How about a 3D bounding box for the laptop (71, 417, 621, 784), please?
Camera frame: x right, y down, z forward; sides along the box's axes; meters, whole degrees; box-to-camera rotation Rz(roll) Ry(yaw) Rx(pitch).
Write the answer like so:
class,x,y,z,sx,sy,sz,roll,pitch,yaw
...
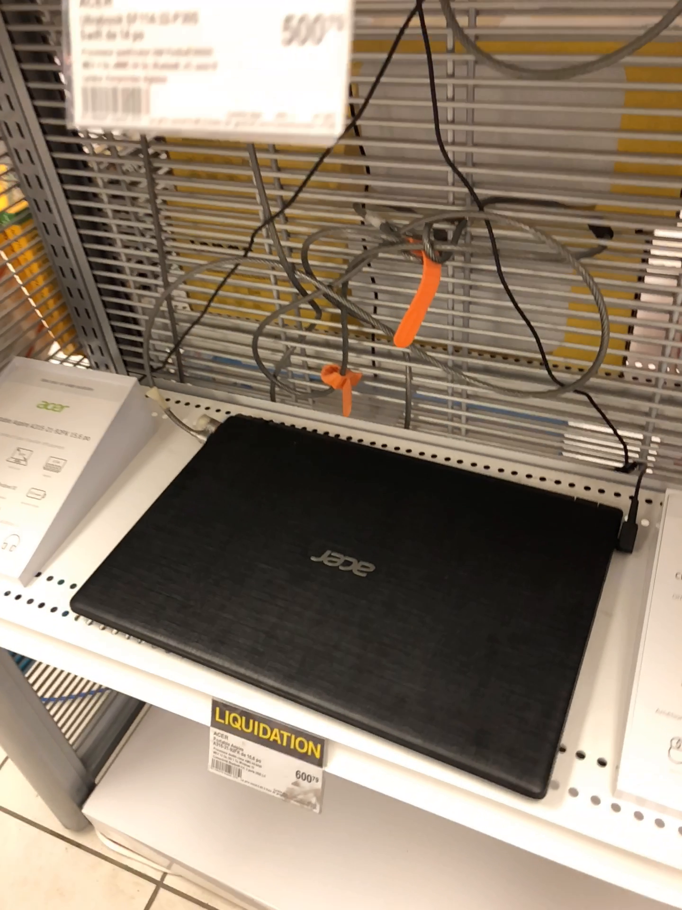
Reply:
class,x,y,z,sx,sy,sz,roll,pitch,yaw
laptop,0.007,0.082,0.611,0.374,0.003,0.248,14,46,22
